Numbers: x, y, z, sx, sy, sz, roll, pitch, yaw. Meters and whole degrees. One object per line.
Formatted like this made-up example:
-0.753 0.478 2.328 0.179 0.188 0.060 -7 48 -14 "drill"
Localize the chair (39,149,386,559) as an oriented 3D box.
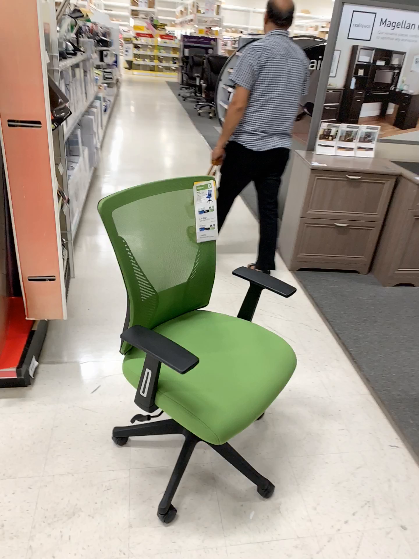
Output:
-0.002 0.194 1.379 0.671 0.995 0.672 23 33 30 "chair"
